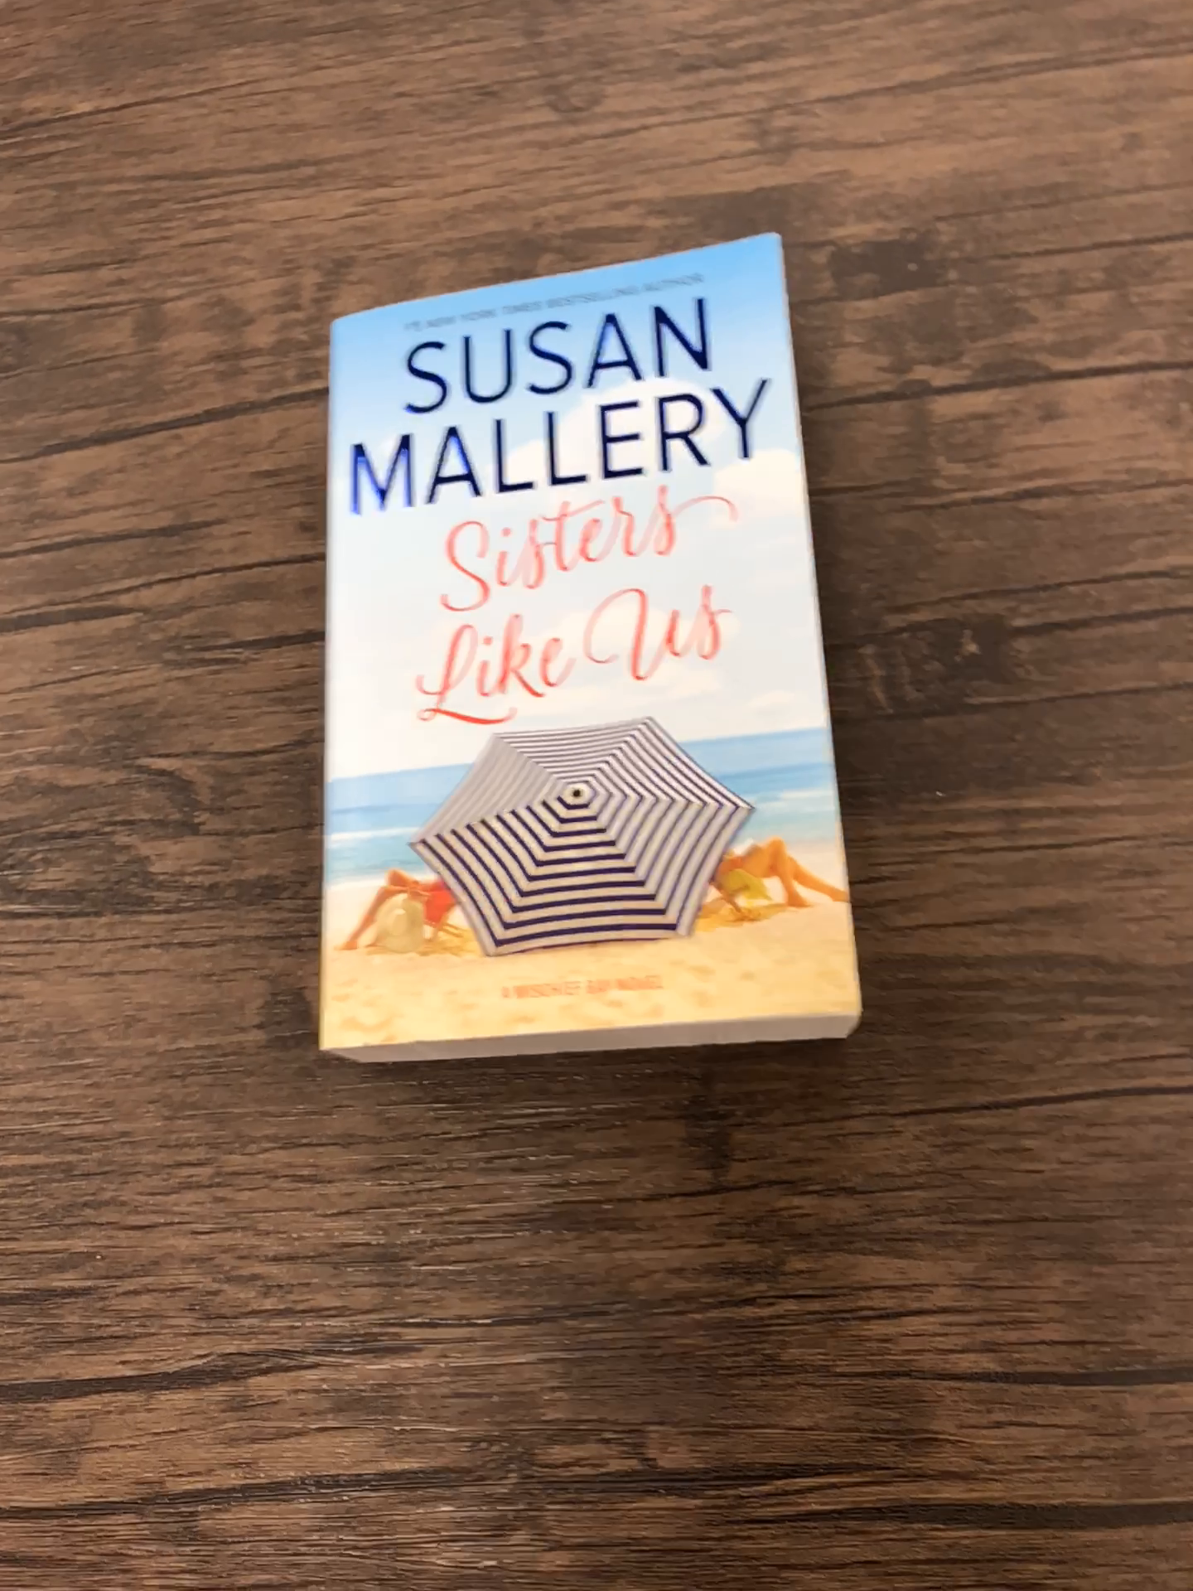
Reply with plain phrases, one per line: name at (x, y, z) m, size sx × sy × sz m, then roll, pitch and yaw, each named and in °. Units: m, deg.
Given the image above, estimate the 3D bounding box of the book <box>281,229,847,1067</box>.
book at (-0.008, -0.028, 0.282) m, size 0.104 × 0.043 × 0.160 m, roll -6°, pitch 75°, yaw 11°
